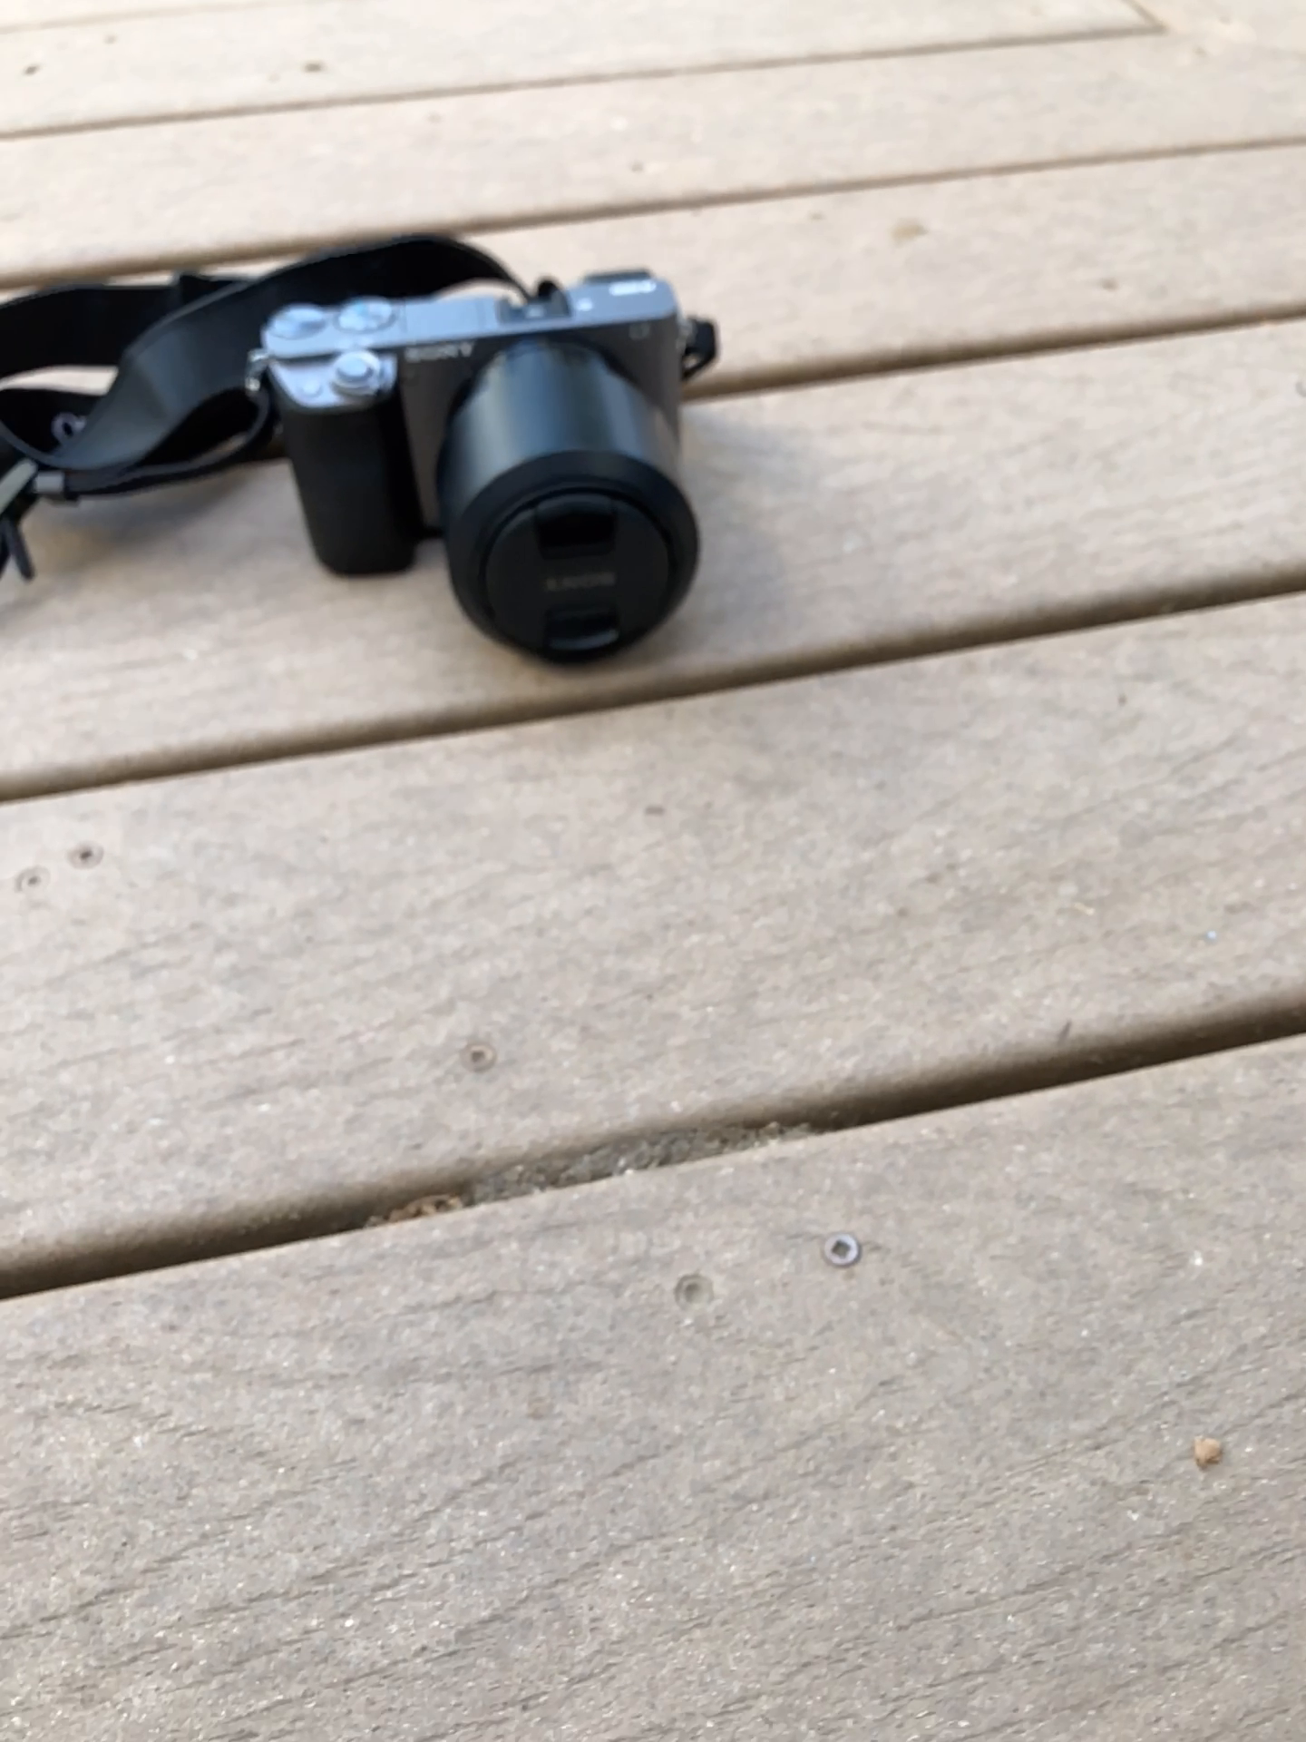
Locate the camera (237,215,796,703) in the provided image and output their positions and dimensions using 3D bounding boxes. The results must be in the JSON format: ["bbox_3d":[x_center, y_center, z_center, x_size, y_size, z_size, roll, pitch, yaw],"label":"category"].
[{"bbox_3d":[-0.039,-0.116,0.401,0.130,0.070,0.111,-7,48,-6],"label":"camera"}]
